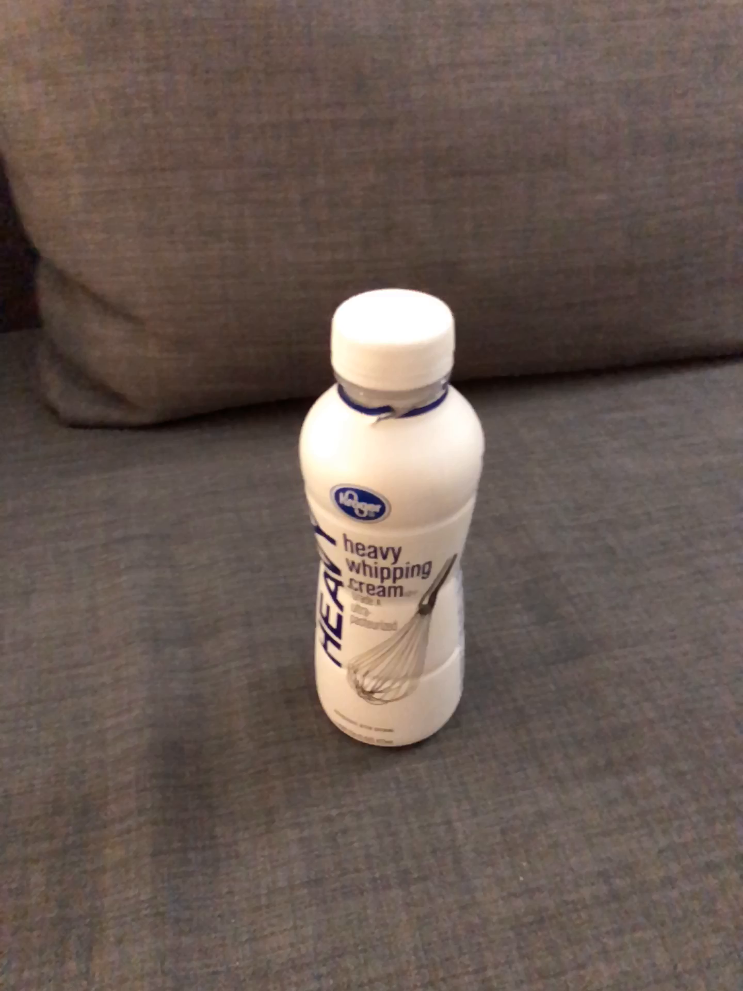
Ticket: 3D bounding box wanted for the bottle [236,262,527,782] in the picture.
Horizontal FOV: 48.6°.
[{"bbox_3d":[0.009,0.017,0.326,0.070,0.189,0.070,-2,38,2],"label":"bottle"}]
